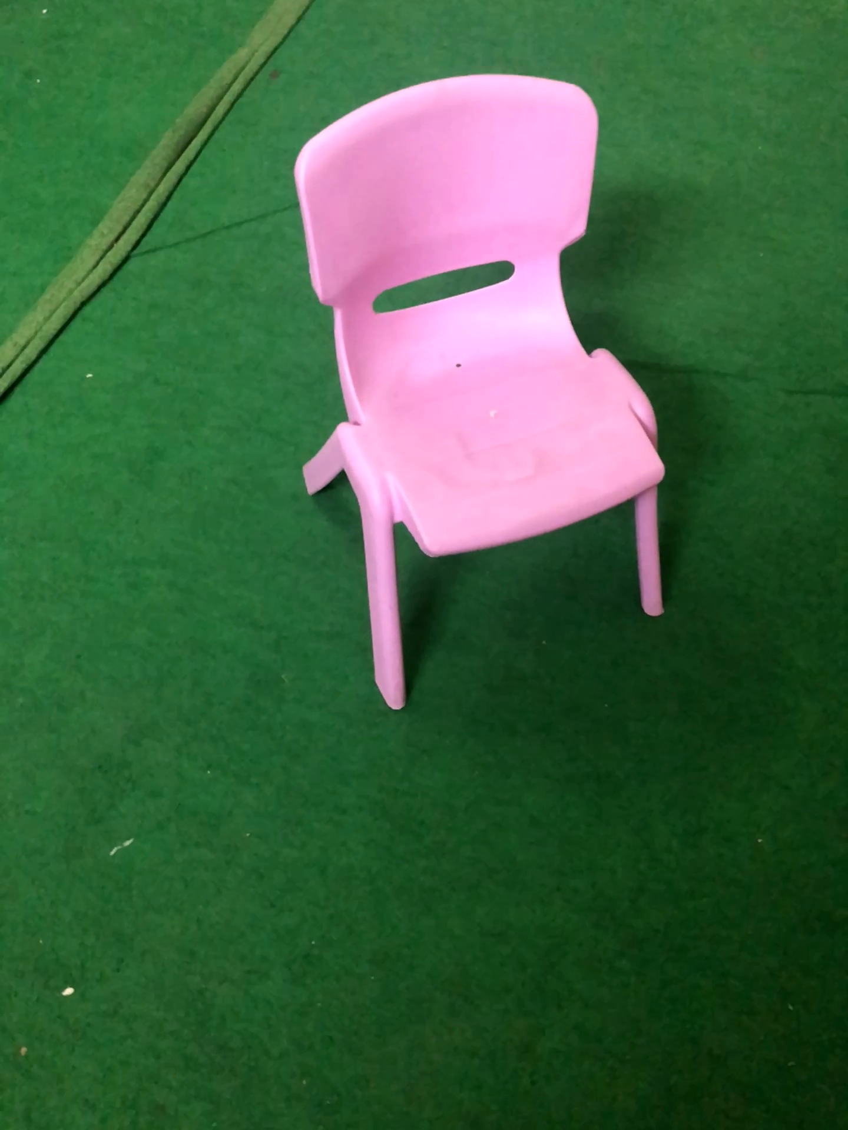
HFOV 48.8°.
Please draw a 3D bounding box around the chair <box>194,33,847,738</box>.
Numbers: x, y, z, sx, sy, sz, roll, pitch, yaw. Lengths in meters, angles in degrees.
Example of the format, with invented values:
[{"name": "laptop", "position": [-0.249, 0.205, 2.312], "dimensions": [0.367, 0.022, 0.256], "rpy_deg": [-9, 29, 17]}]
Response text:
[{"name": "chair", "position": [0.055, -0.165, 0.932], "dimensions": [0.380, 0.449, 0.411], "rpy_deg": [-20, 60, -15]}]
